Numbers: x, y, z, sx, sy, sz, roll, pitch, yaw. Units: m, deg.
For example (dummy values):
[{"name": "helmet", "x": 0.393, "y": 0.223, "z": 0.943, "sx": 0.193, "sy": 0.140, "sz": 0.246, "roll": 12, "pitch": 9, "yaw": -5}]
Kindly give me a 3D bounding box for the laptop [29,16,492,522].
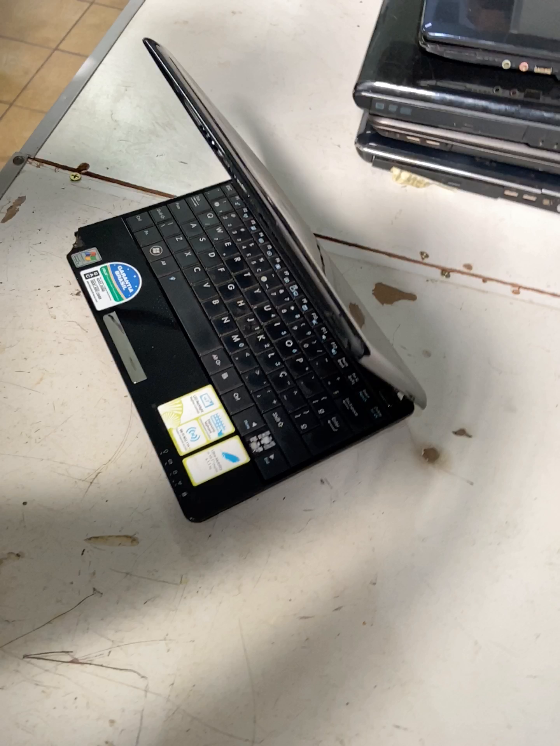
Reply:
[{"name": "laptop", "x": -0.031, "y": -0.077, "z": 0.384, "sx": 0.167, "sy": 0.137, "sz": 0.262, "roll": -22, "pitch": 65, "yaw": -16}]
